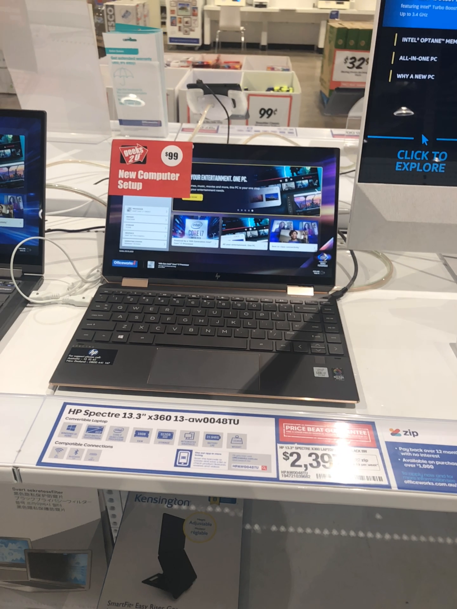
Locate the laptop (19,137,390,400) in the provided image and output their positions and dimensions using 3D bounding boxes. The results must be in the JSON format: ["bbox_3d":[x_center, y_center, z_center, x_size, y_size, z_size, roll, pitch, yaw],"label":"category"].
[{"bbox_3d":[-0.014,-0.067,0.574,0.298,0.147,0.316,3,34,3],"label":"laptop"}]
